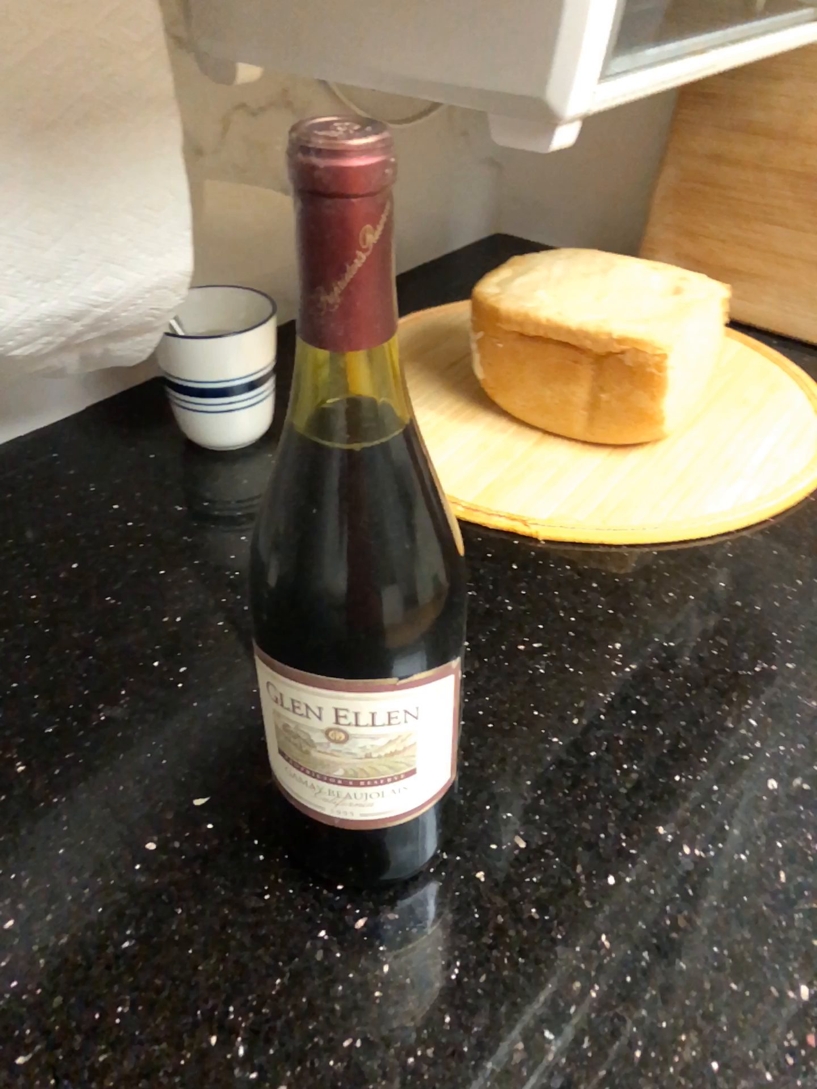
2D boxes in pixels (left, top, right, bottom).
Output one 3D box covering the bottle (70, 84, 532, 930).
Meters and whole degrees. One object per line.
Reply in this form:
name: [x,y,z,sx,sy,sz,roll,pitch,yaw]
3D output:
bottle: [-0.022,0.006,0.323,0.090,0.288,0.090,0,37,0]
